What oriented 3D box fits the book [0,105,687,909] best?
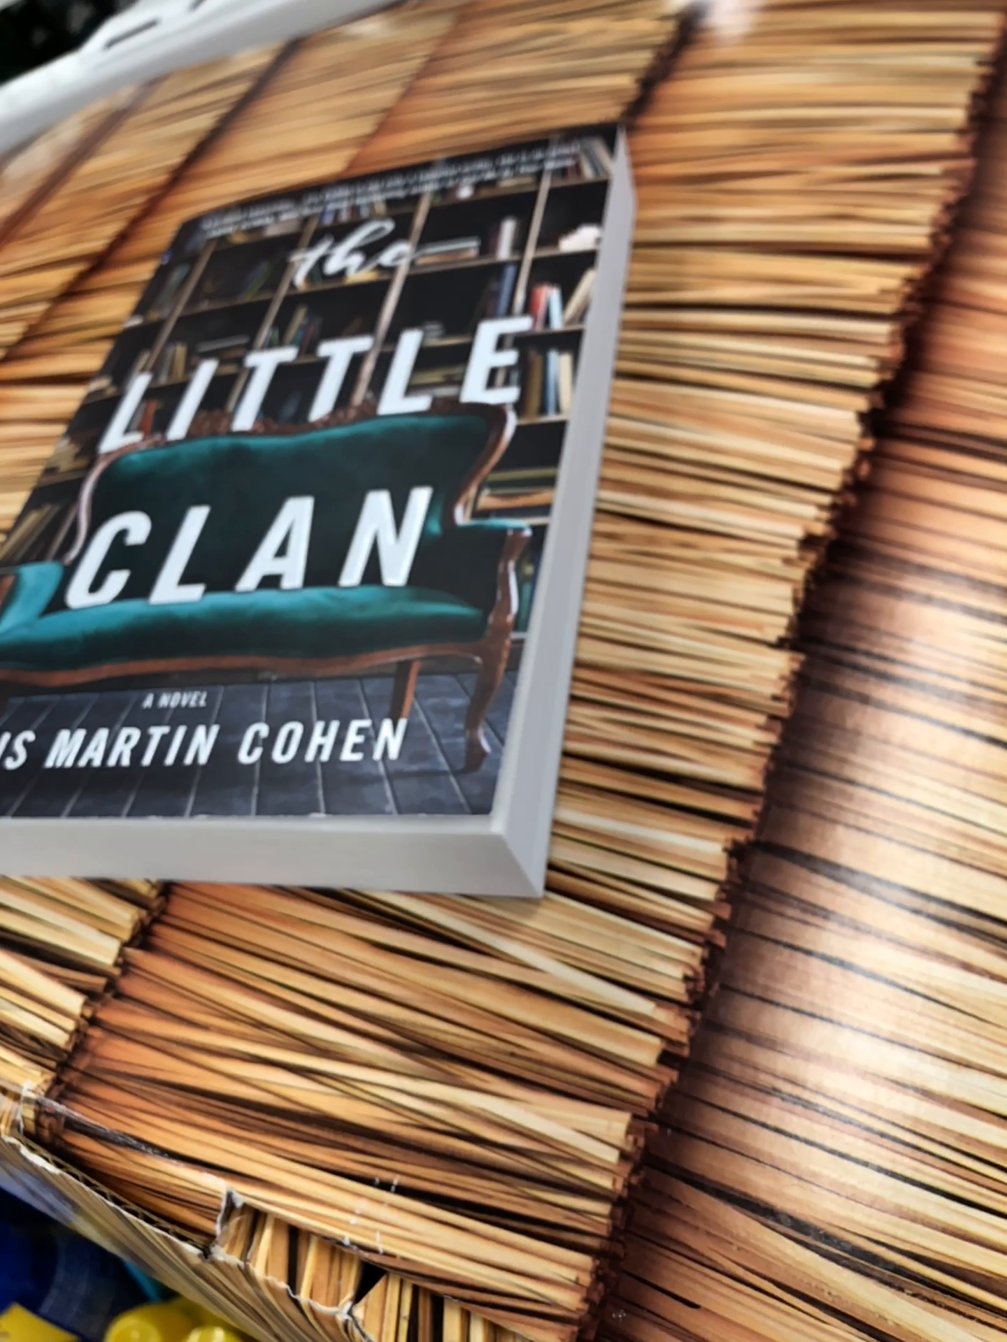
[{"bbox_3d":[-0.037,-0.045,0.244,0.130,0.030,0.190,-3,51,21],"label":"book"}]
